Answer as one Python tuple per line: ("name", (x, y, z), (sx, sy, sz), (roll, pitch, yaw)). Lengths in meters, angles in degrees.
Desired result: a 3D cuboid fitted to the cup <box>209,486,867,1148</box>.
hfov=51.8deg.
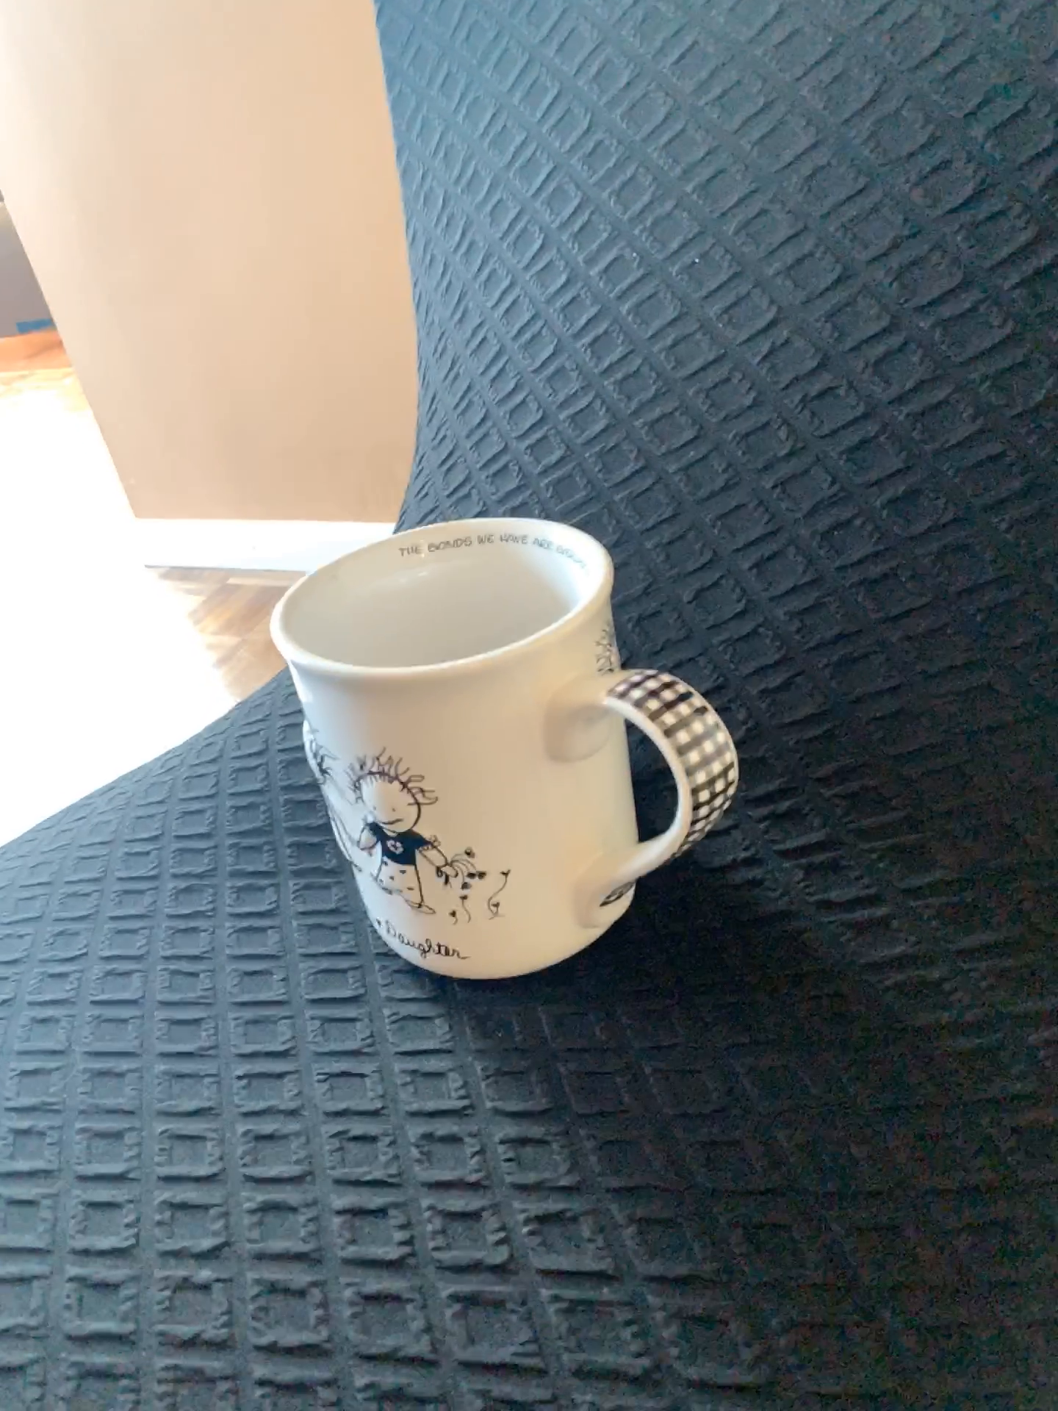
("cup", (0.005, 0.018, 0.310), (0.100, 0.109, 0.141), (-35, 38, -31))
